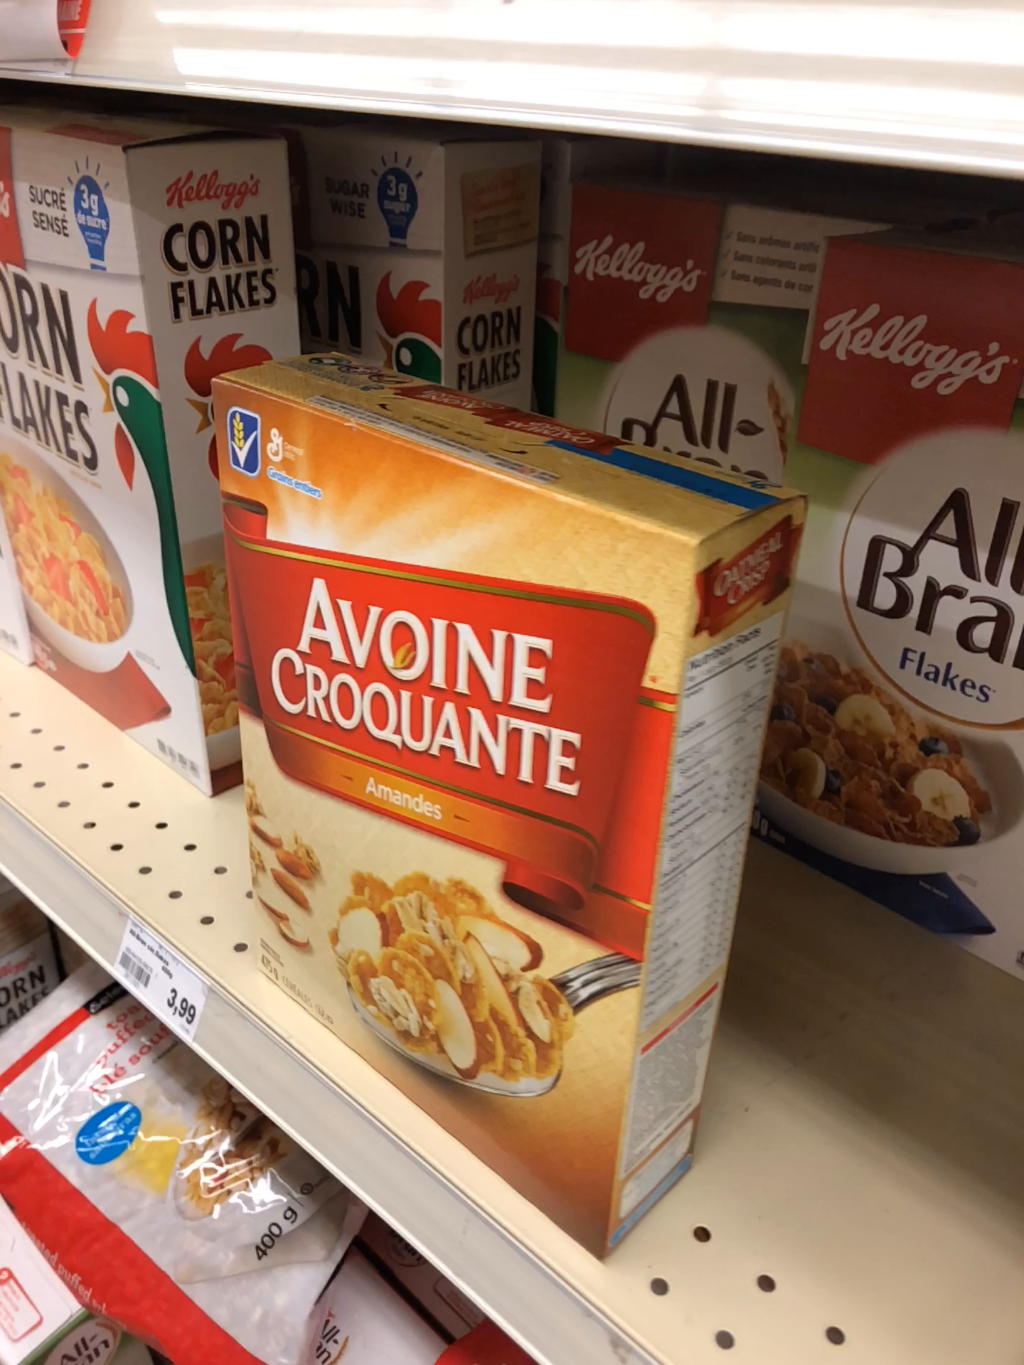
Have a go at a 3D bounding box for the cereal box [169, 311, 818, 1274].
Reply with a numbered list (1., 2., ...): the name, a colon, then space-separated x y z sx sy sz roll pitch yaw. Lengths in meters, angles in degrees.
1. cereal box: -0.021 0.032 0.388 0.201 0.268 0.060 27 38 36
